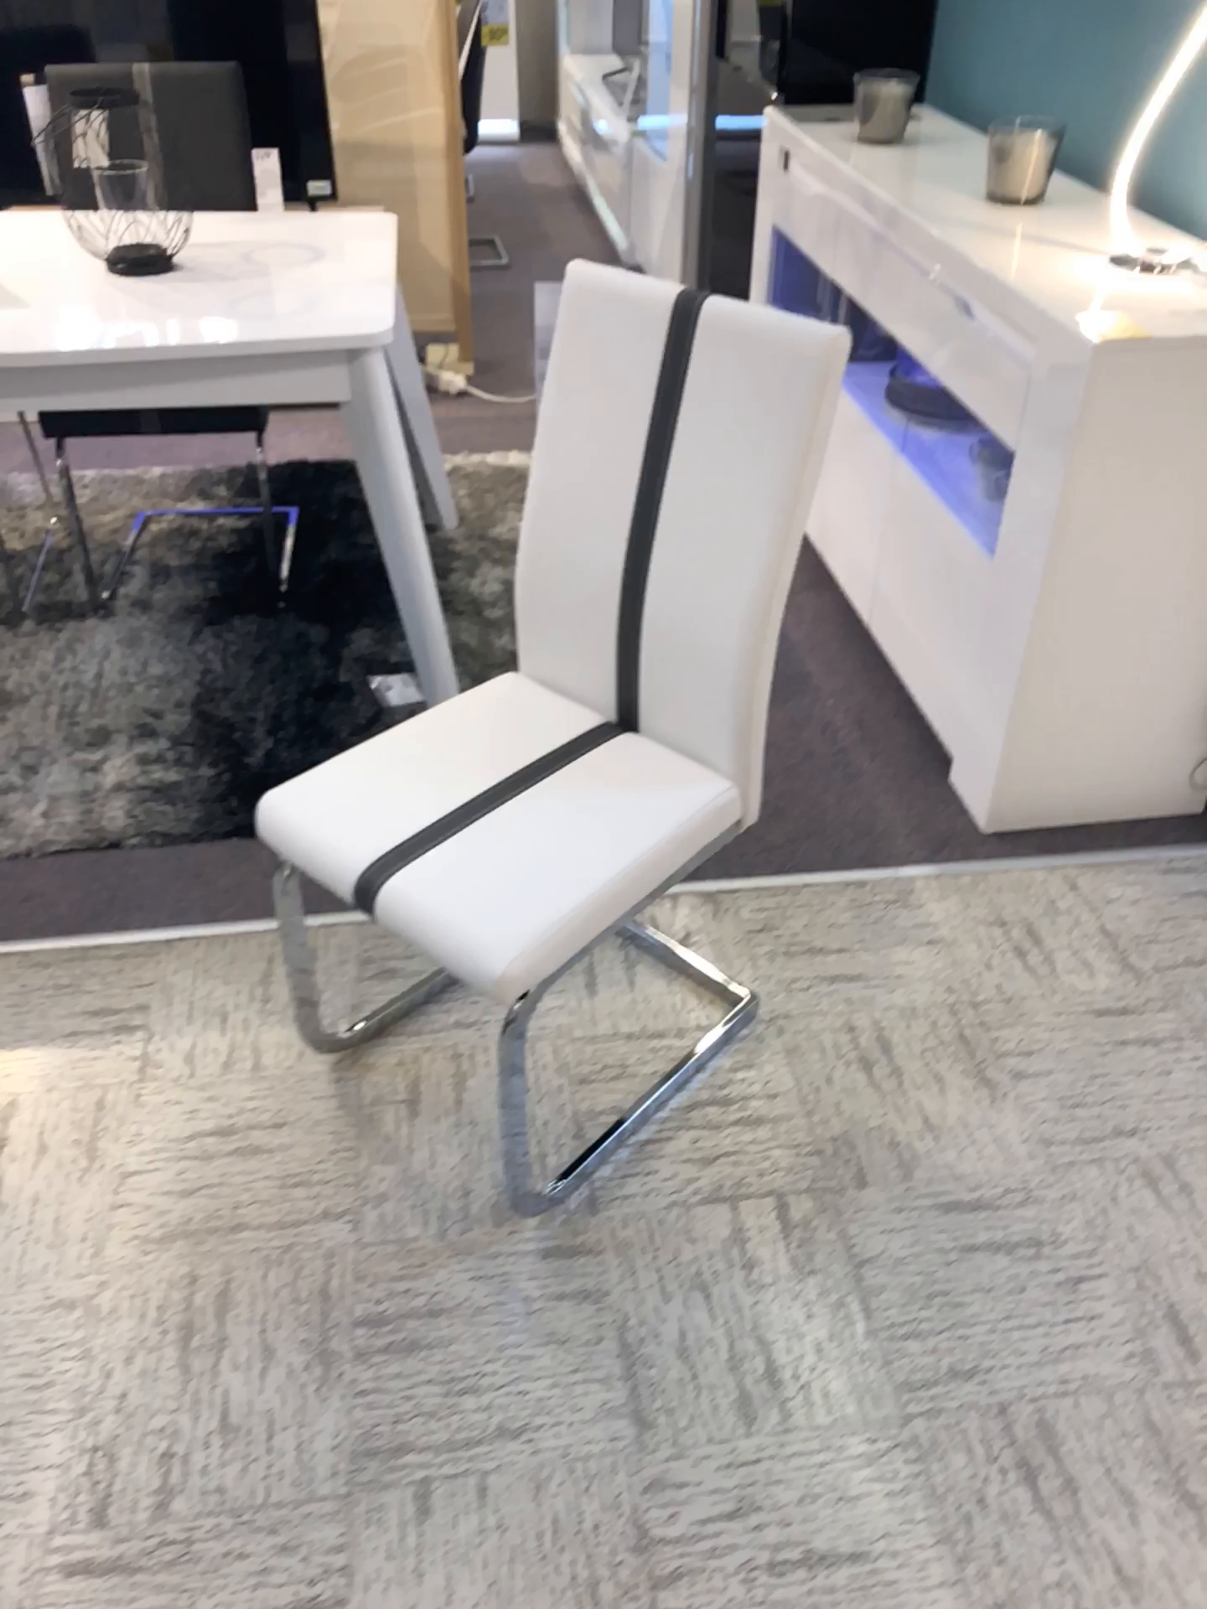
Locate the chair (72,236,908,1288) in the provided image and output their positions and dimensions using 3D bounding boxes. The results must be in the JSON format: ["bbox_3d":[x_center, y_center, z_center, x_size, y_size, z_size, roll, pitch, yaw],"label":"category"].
[{"bbox_3d":[-0.096,-0.064,1.446,0.487,0.878,0.572,30,45,34],"label":"chair"}]
